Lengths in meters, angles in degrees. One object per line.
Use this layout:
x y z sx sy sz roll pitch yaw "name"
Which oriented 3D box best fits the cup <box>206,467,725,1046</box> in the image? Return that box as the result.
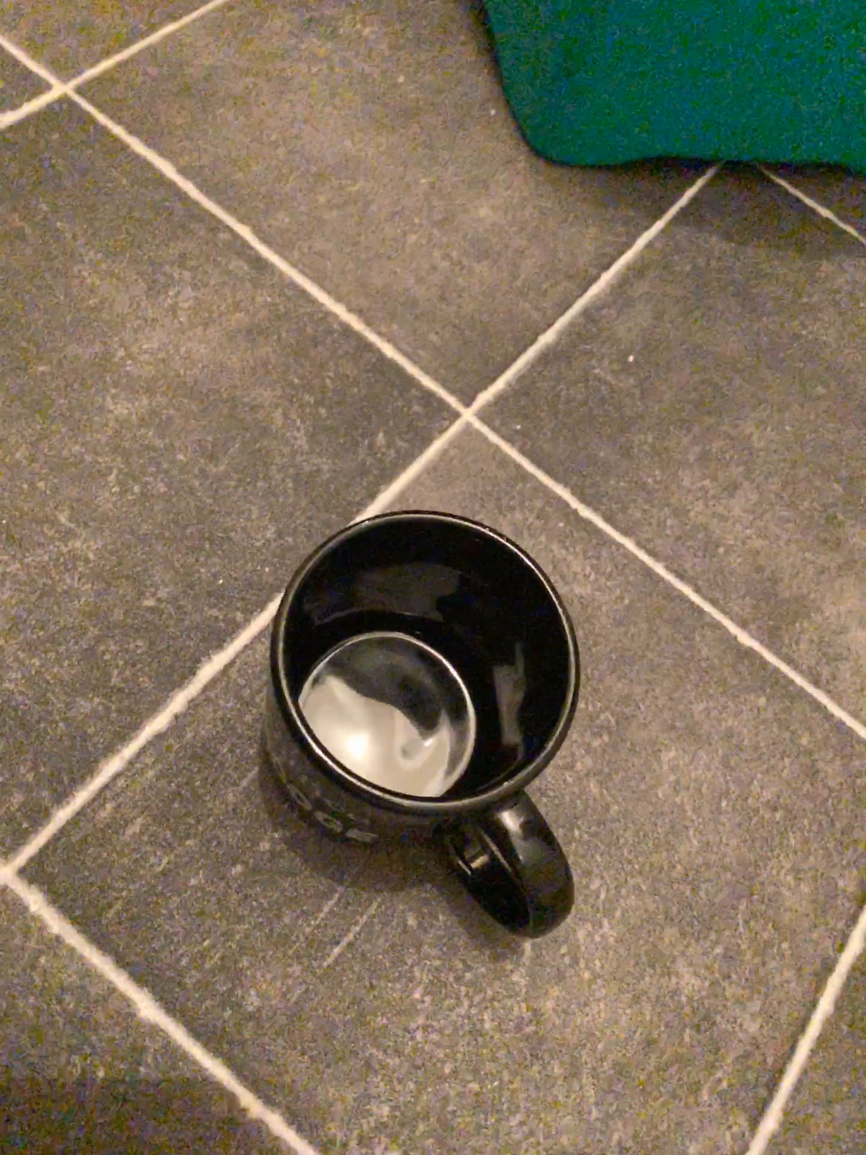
-0.004 0.056 0.271 0.080 0.115 0.117 -27 76 -22 "cup"
